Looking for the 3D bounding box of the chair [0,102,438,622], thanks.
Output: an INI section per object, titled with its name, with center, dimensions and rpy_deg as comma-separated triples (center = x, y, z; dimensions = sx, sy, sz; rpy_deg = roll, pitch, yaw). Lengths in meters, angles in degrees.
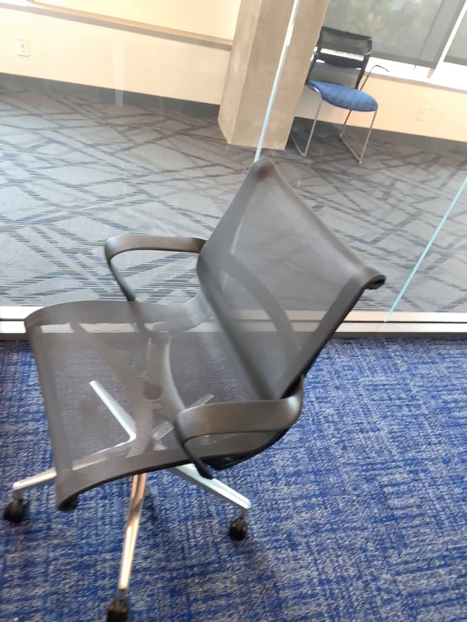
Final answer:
[chair]
center = -0.218, 0.116, 0.973
dimensions = 0.642, 0.773, 0.665
rpy_deg = -8, 45, -27
